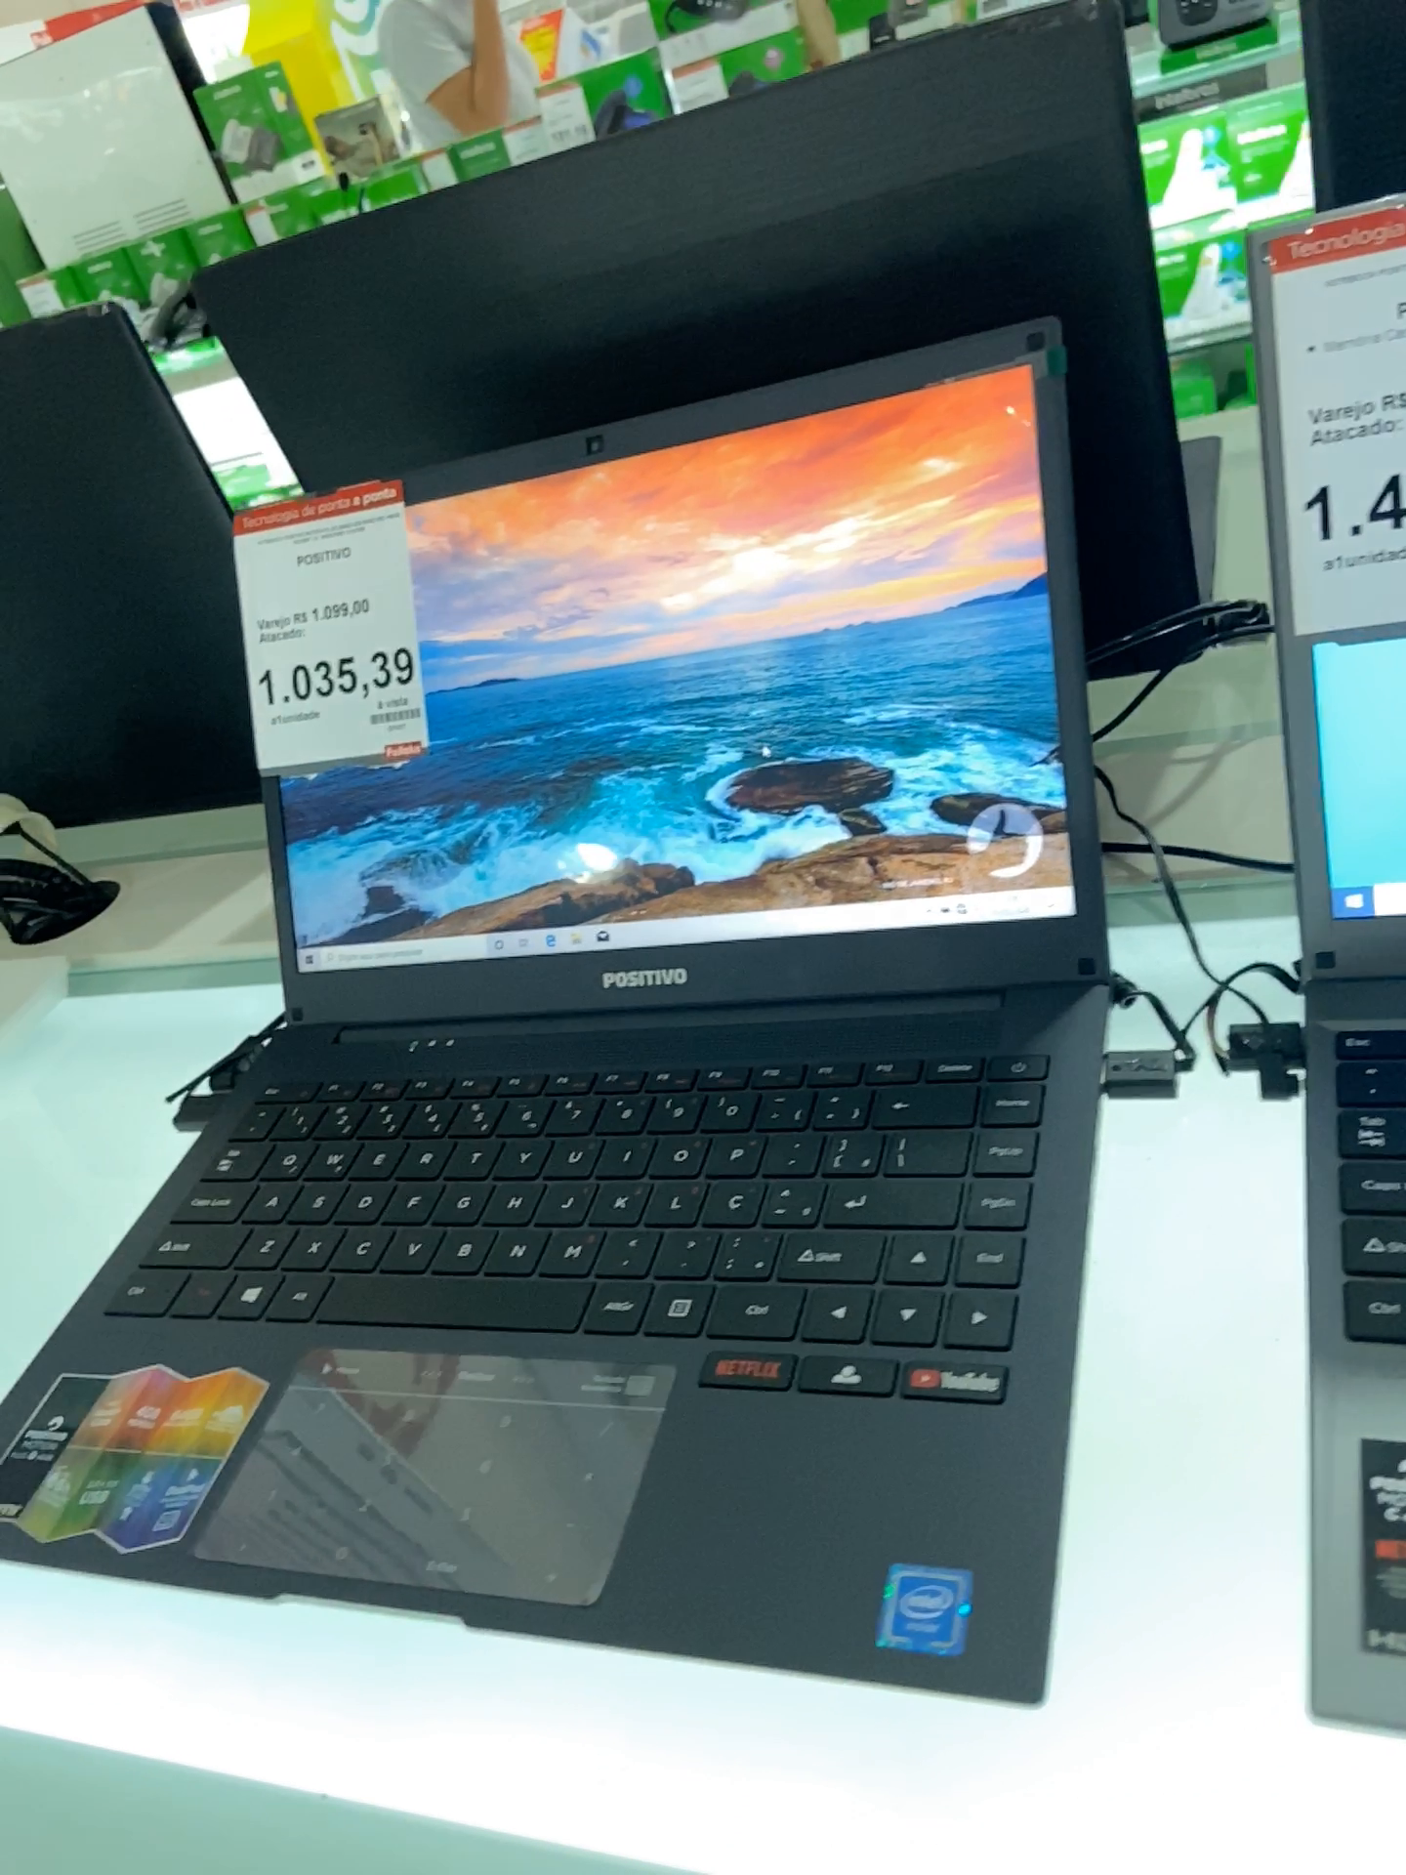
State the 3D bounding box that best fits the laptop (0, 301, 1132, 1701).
[{"bbox_3d":[-0.063,-0.012,0.447,0.334,0.175,0.355,-5,36,24],"label":"laptop"}]
